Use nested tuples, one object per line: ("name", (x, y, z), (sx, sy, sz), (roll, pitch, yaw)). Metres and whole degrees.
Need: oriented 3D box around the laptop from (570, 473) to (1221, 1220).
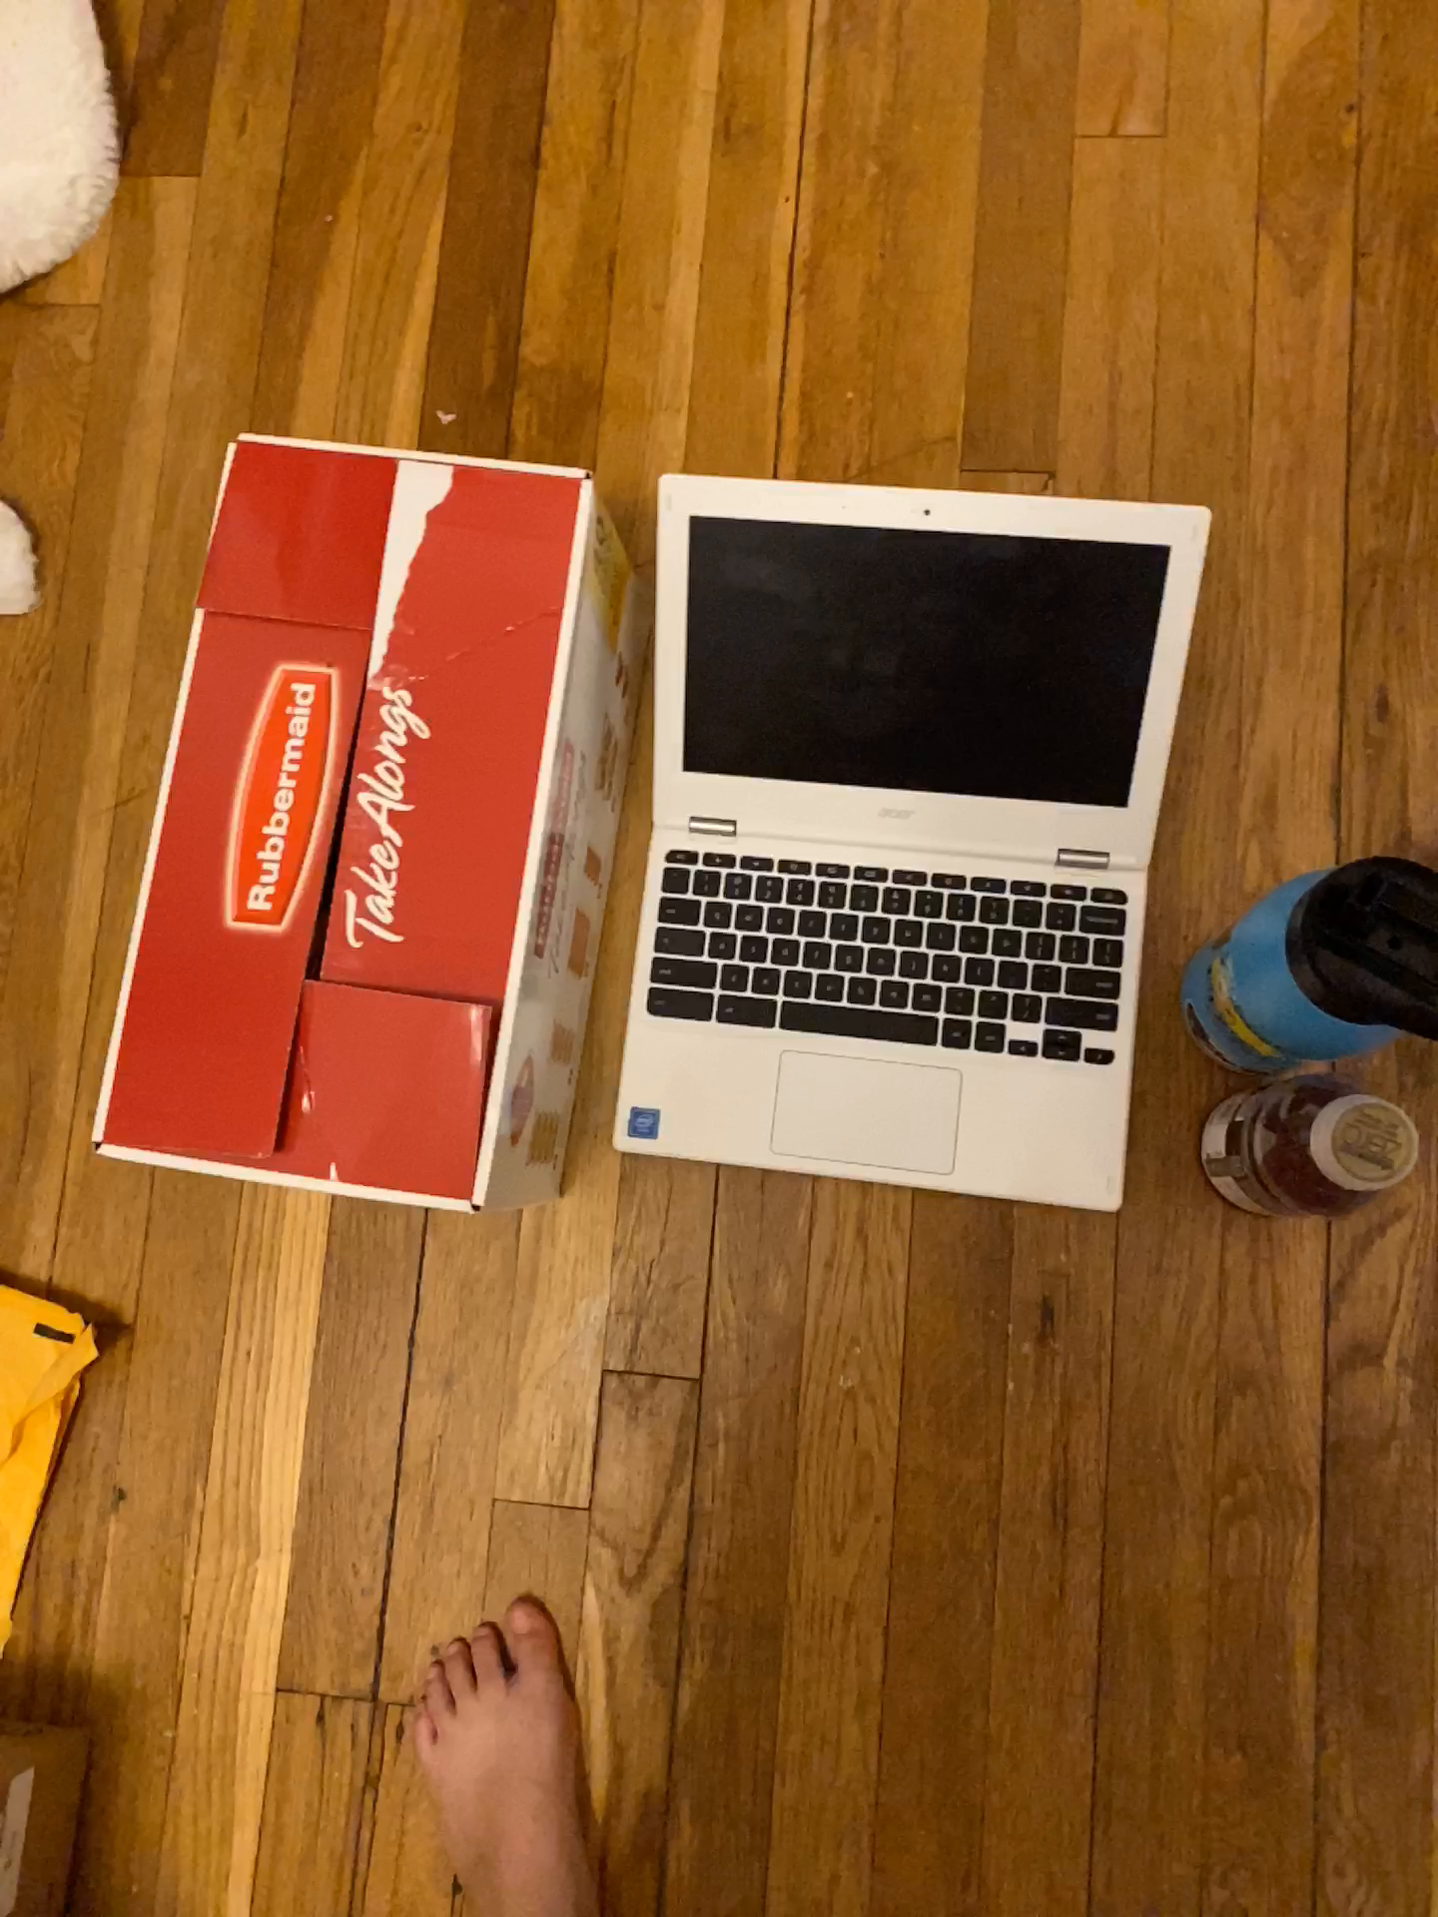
("laptop", (0.096, -0.060, 0.797), (0.289, 0.110, 0.364), (6, 83, 9))
